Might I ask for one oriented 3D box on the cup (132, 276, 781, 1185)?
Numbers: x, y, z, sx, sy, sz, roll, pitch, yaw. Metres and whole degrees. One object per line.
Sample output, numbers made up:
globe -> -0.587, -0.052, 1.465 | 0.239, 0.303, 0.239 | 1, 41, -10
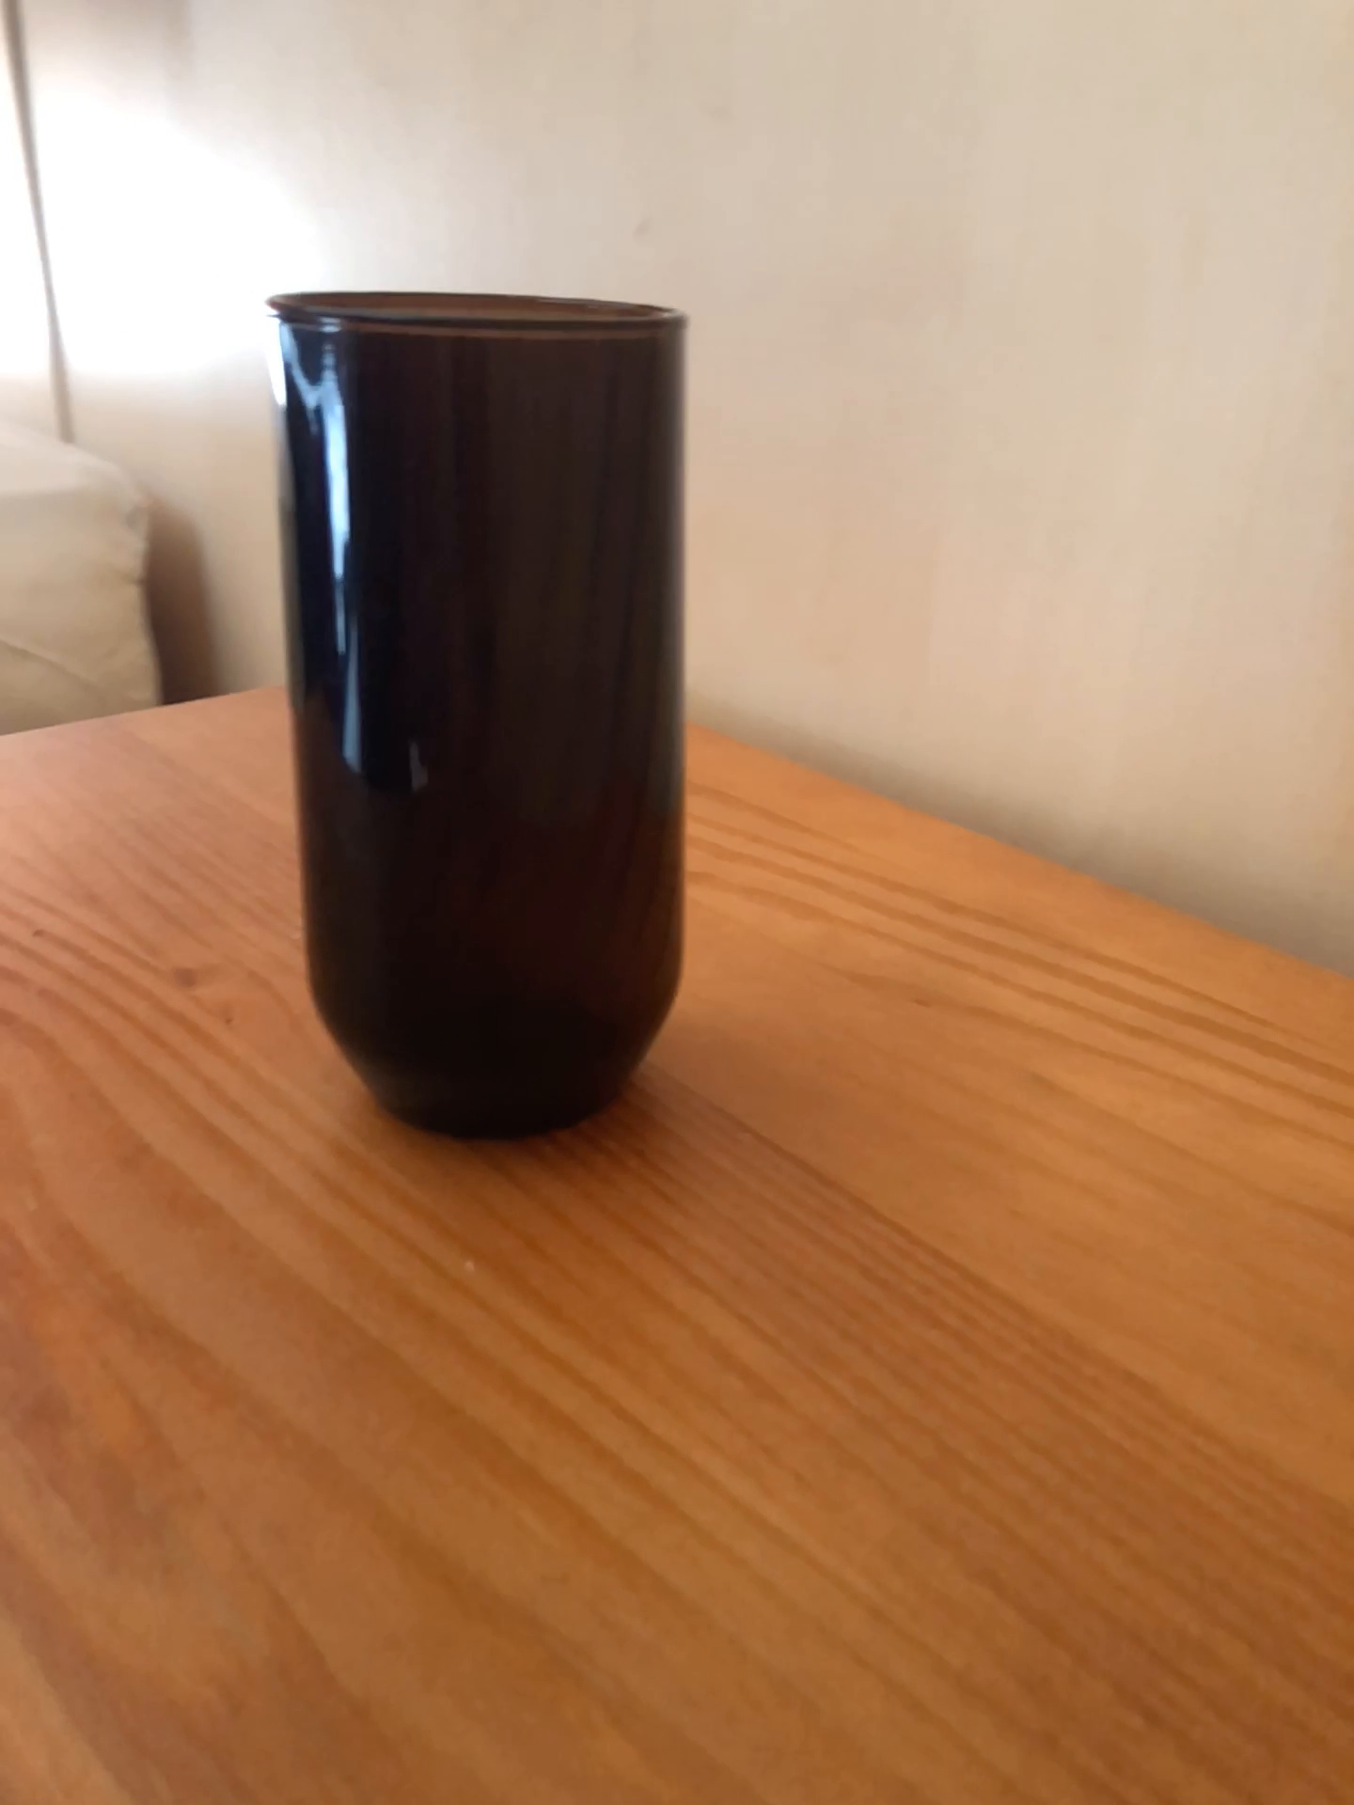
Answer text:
cup -> -0.029, -0.030, 0.222 | 0.060, 0.112, 0.062 | 2, 25, -1
